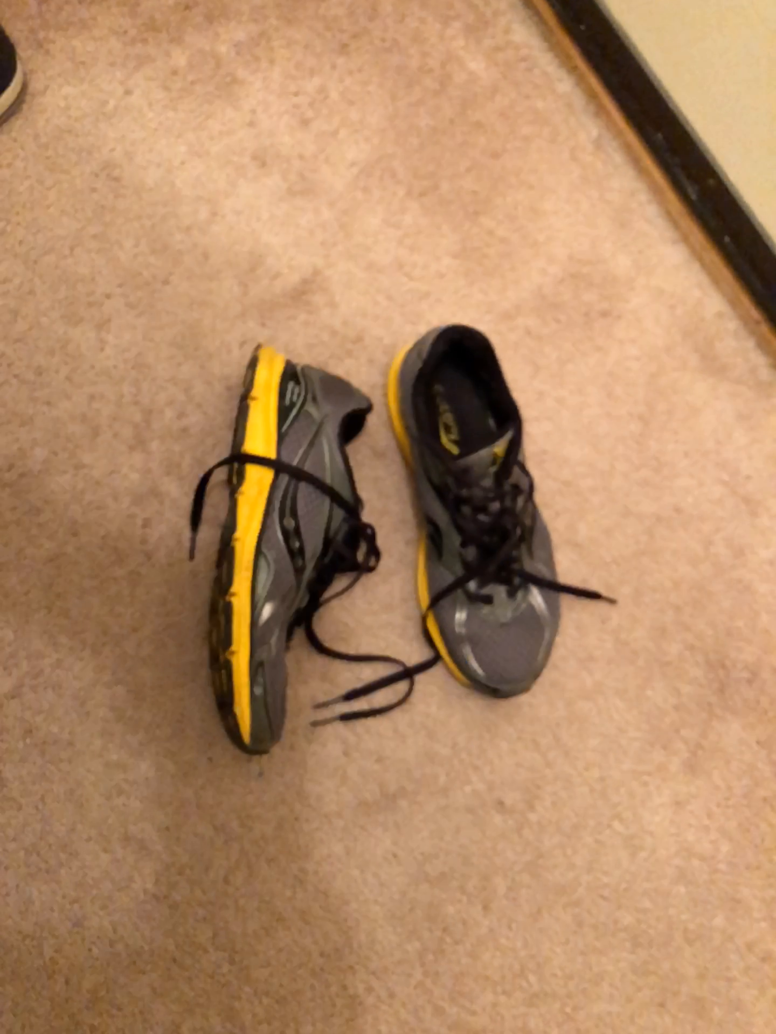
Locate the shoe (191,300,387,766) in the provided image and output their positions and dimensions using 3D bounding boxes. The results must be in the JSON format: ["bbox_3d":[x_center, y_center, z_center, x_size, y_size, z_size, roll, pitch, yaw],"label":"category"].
[{"bbox_3d":[-0.067,0.017,0.598,0.109,0.118,0.293,4,76,-10],"label":"shoe"}]

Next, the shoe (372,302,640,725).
[{"bbox_3d":[0.077,-0.002,0.633,0.118,0.099,0.283,-6,78,-14],"label":"shoe"}]
